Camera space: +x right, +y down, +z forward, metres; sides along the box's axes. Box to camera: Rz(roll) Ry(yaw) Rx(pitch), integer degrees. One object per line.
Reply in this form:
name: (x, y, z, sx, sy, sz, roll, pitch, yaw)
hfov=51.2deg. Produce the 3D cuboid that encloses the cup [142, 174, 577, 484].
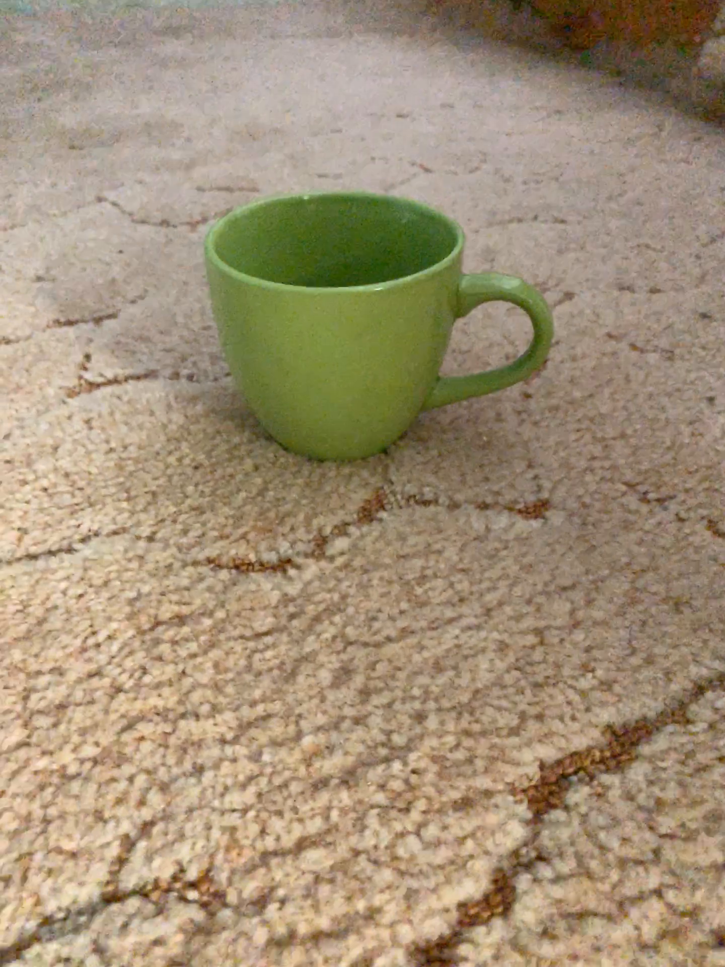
cup: (0.006, -0.058, 0.256, 0.120, 0.059, 0.091, 8, 36, 10)
